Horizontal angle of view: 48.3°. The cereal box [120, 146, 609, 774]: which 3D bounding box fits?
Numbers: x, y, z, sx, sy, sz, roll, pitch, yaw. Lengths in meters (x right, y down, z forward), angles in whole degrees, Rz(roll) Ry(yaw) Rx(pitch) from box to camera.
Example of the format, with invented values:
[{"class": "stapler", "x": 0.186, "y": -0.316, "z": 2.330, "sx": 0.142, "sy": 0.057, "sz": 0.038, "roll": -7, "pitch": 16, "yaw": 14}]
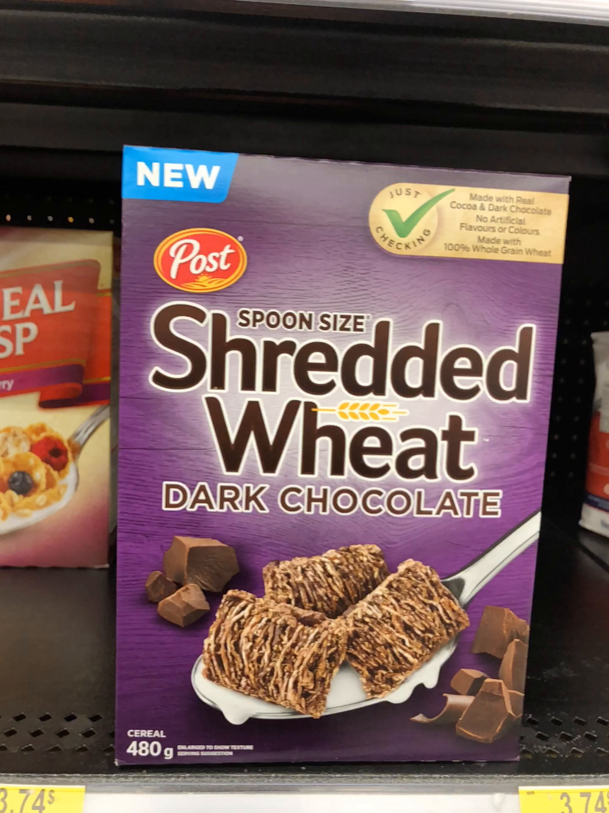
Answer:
[{"class": "cereal box", "x": 0.020, "y": 0.029, "z": 0.323, "sx": 0.200, "sy": 0.269, "sz": 0.060, "roll": 2, "pitch": 8, "yaw": -5}]
